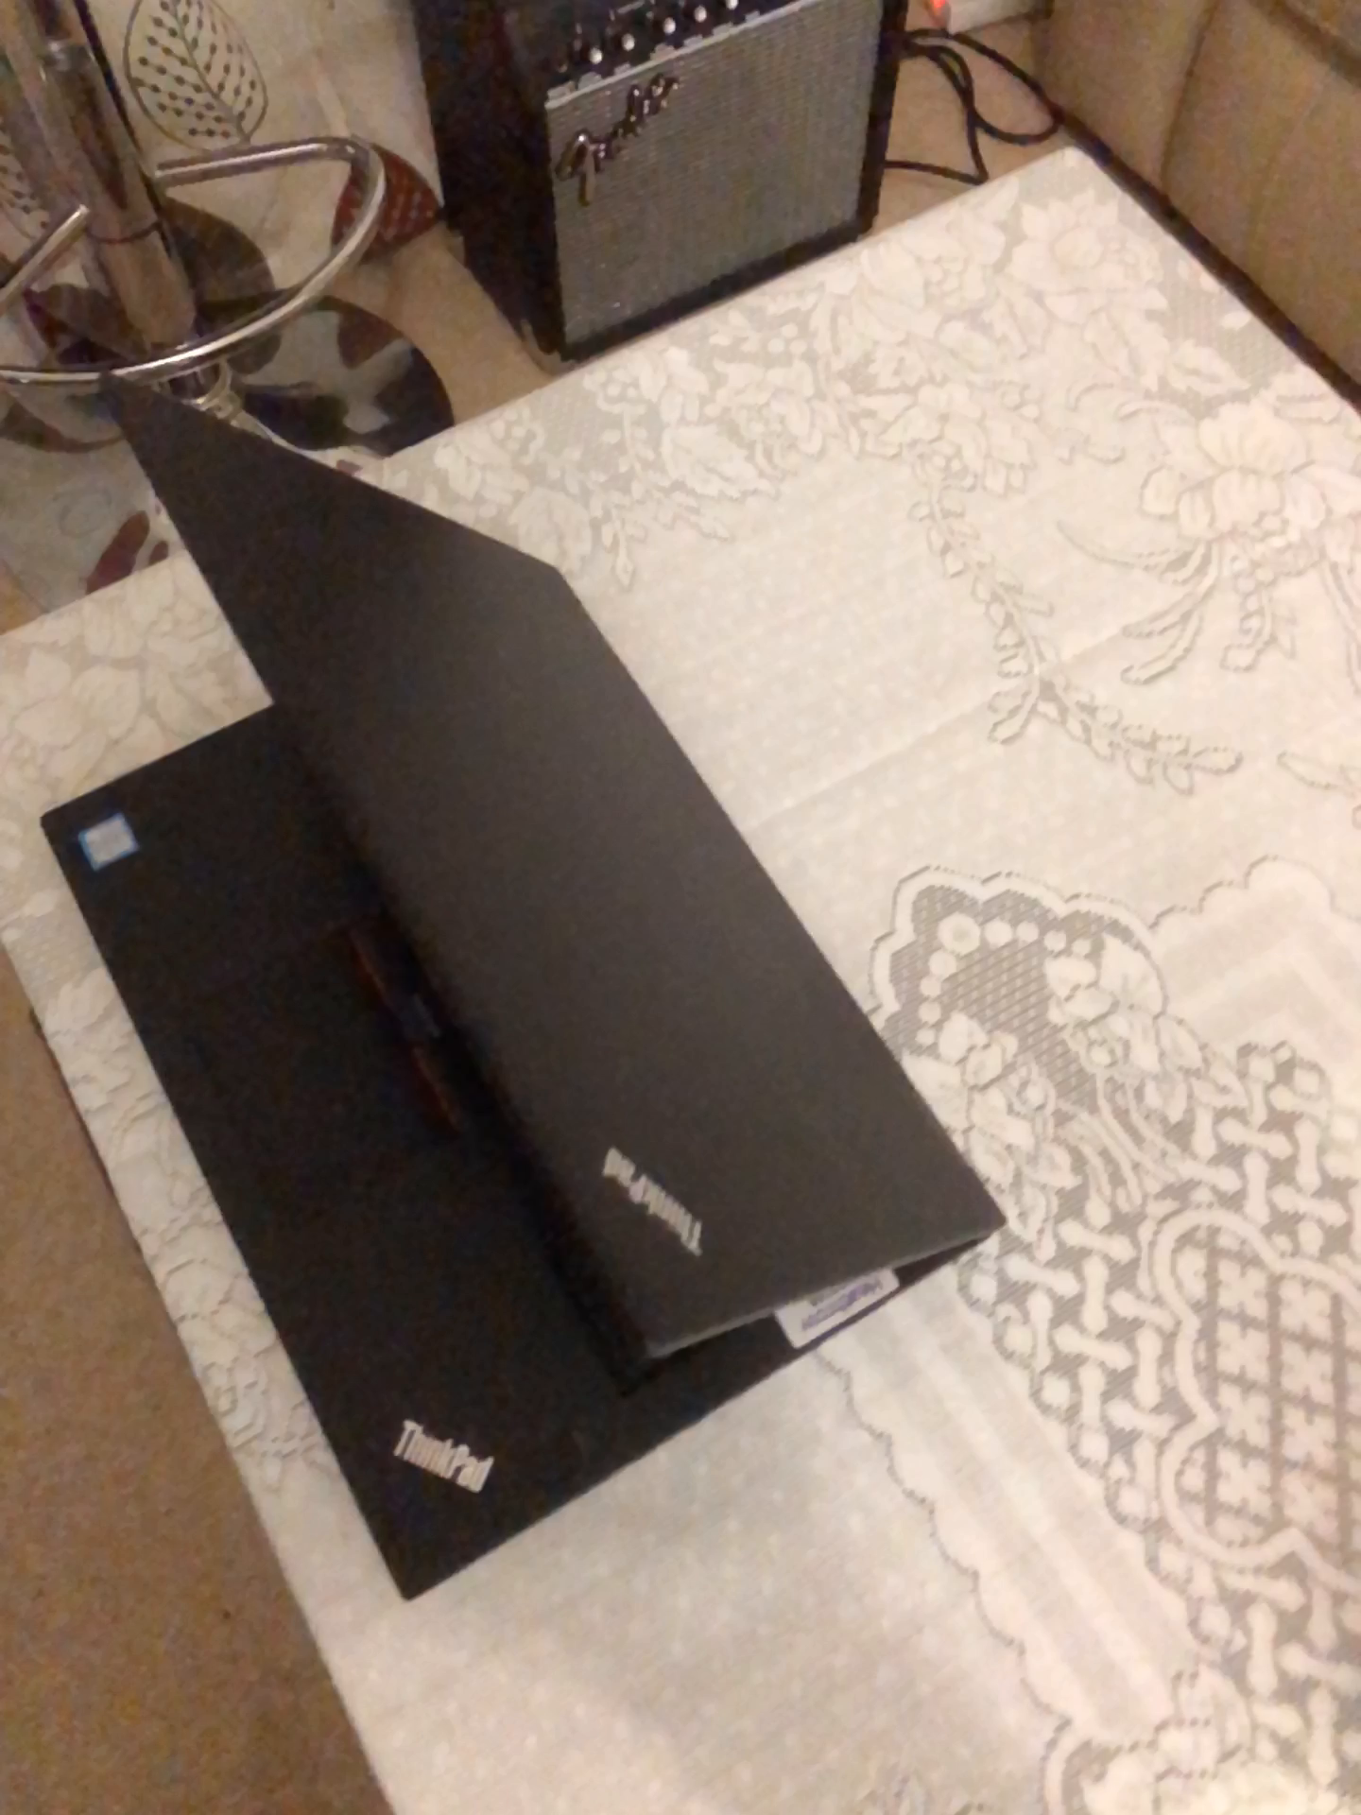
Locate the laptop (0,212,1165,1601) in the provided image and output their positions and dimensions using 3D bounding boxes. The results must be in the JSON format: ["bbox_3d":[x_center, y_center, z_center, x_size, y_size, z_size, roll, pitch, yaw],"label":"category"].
[{"bbox_3d":[-0.064,-0.002,0.446,0.220,0.174,0.309,-28,66,-11],"label":"laptop"}]
